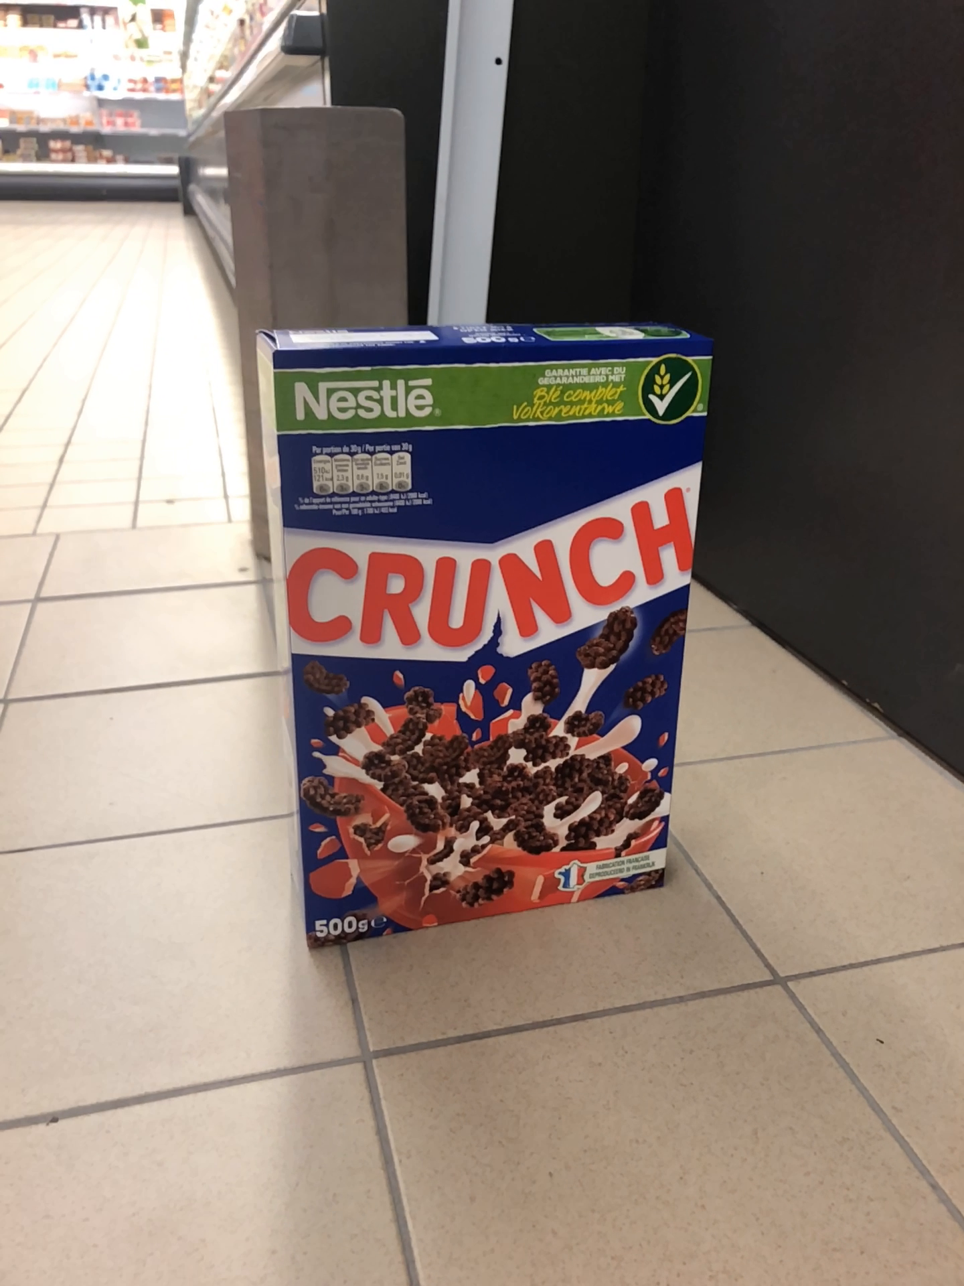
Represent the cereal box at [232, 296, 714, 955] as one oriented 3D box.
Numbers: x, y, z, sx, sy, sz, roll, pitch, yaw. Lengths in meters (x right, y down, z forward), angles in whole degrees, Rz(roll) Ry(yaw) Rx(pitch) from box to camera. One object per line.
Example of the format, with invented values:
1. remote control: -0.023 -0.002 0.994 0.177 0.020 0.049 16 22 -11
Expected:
1. cereal box: -0.006 -0.007 0.504 0.190 0.288 0.070 -6 25 -15
